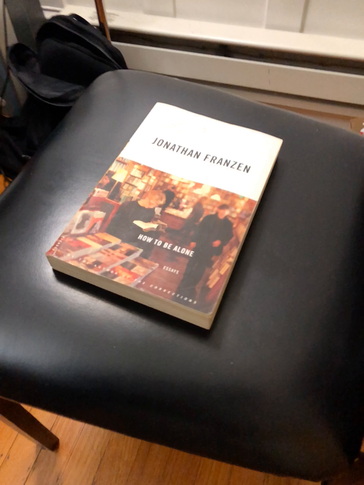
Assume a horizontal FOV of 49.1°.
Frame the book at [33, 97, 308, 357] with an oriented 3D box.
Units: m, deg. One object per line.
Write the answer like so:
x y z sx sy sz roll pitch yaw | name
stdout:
0.005 -0.037 0.364 0.160 0.040 0.231 18 56 15 | book
